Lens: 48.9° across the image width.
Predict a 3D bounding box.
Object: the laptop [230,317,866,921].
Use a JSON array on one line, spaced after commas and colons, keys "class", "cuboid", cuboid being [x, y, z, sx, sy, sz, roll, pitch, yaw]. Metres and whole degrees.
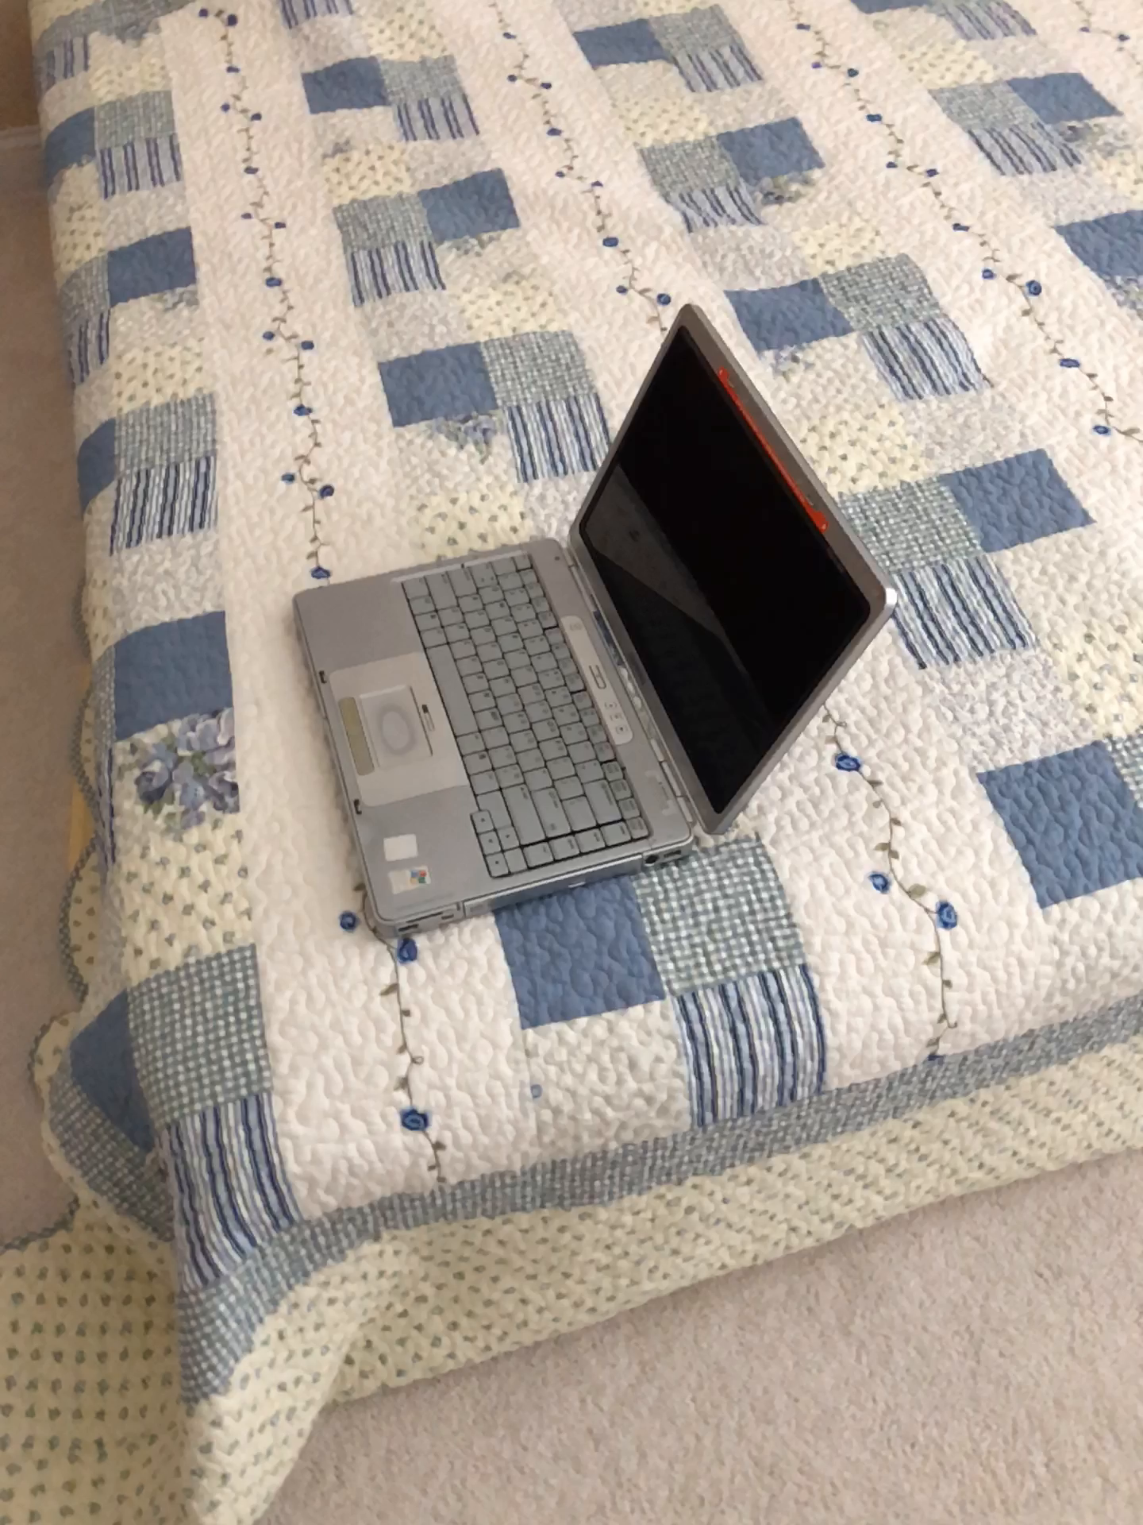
[{"class": "laptop", "cuboid": [-0.027, -0.113, 0.881, 0.326, 0.193, 0.323, -14, 53, -11]}]
